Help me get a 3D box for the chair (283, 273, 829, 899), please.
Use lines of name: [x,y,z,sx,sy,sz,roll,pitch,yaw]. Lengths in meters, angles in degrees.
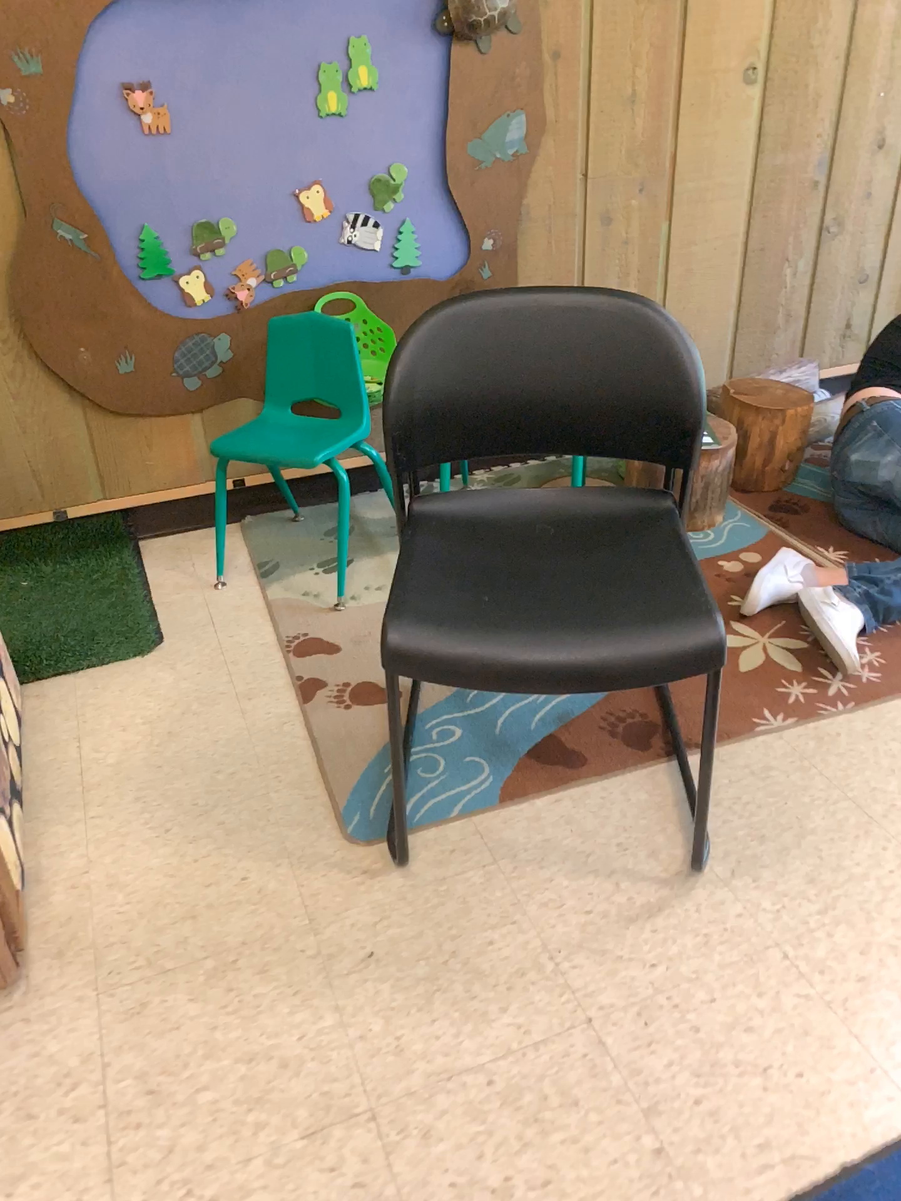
chair: [0.138,-0.038,1.444,0.590,0.785,0.574,0,30,4]
